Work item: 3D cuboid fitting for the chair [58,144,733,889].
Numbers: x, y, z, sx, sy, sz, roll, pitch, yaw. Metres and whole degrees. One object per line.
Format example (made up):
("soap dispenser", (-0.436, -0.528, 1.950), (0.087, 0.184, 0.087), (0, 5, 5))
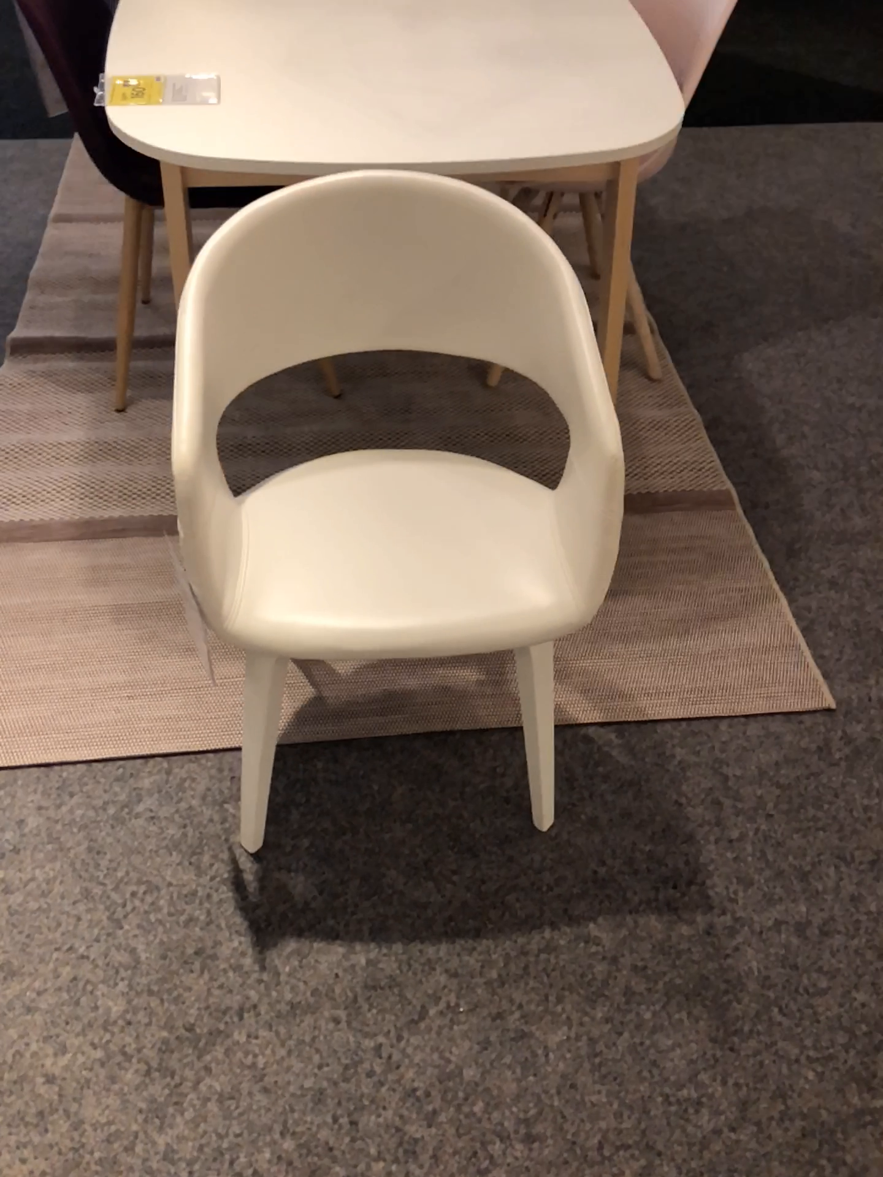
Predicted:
("chair", (-0.073, -0.070, 1.255), (0.550, 0.756, 0.563), (-3, 48, -6))
